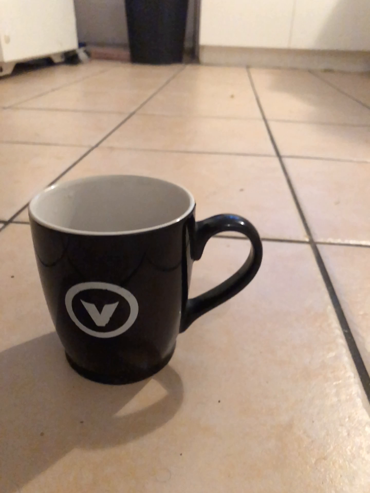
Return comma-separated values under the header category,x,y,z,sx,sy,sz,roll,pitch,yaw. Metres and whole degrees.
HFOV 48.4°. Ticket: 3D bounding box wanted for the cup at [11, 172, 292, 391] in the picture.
category,x,y,z,sx,sy,sz,roll,pitch,yaw
cup,-0.018,0.018,0.272,0.140,0.100,0.101,2,27,0
